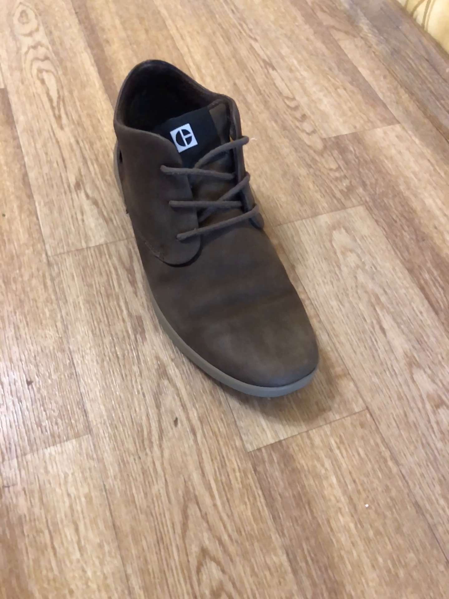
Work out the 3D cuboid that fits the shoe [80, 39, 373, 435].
[{"bbox_3d":[-0.018,-0.059,0.364,0.100,0.100,0.271,-16,61,-15],"label":"shoe"}]
